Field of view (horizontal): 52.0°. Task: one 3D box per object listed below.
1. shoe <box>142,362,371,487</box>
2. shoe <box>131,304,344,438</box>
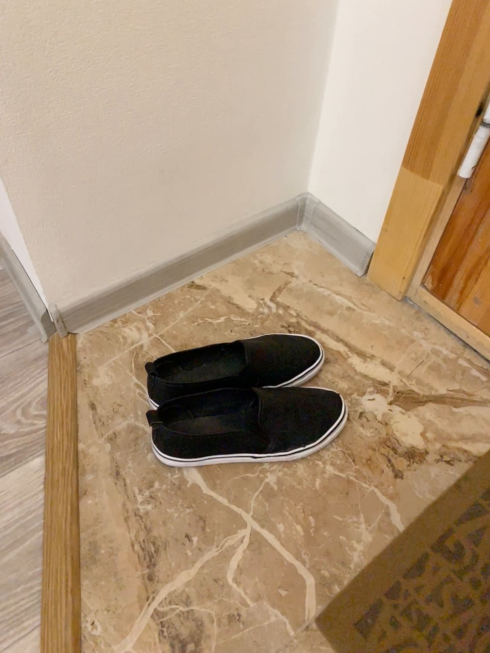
[{"bbox_3d":[0.010,0.114,0.601,0.250,0.060,0.090,-8,50,-10],"label":"shoe"},{"bbox_3d":[-0.009,0.052,0.651,0.250,0.060,0.090,-15,52,-16],"label":"shoe"}]
